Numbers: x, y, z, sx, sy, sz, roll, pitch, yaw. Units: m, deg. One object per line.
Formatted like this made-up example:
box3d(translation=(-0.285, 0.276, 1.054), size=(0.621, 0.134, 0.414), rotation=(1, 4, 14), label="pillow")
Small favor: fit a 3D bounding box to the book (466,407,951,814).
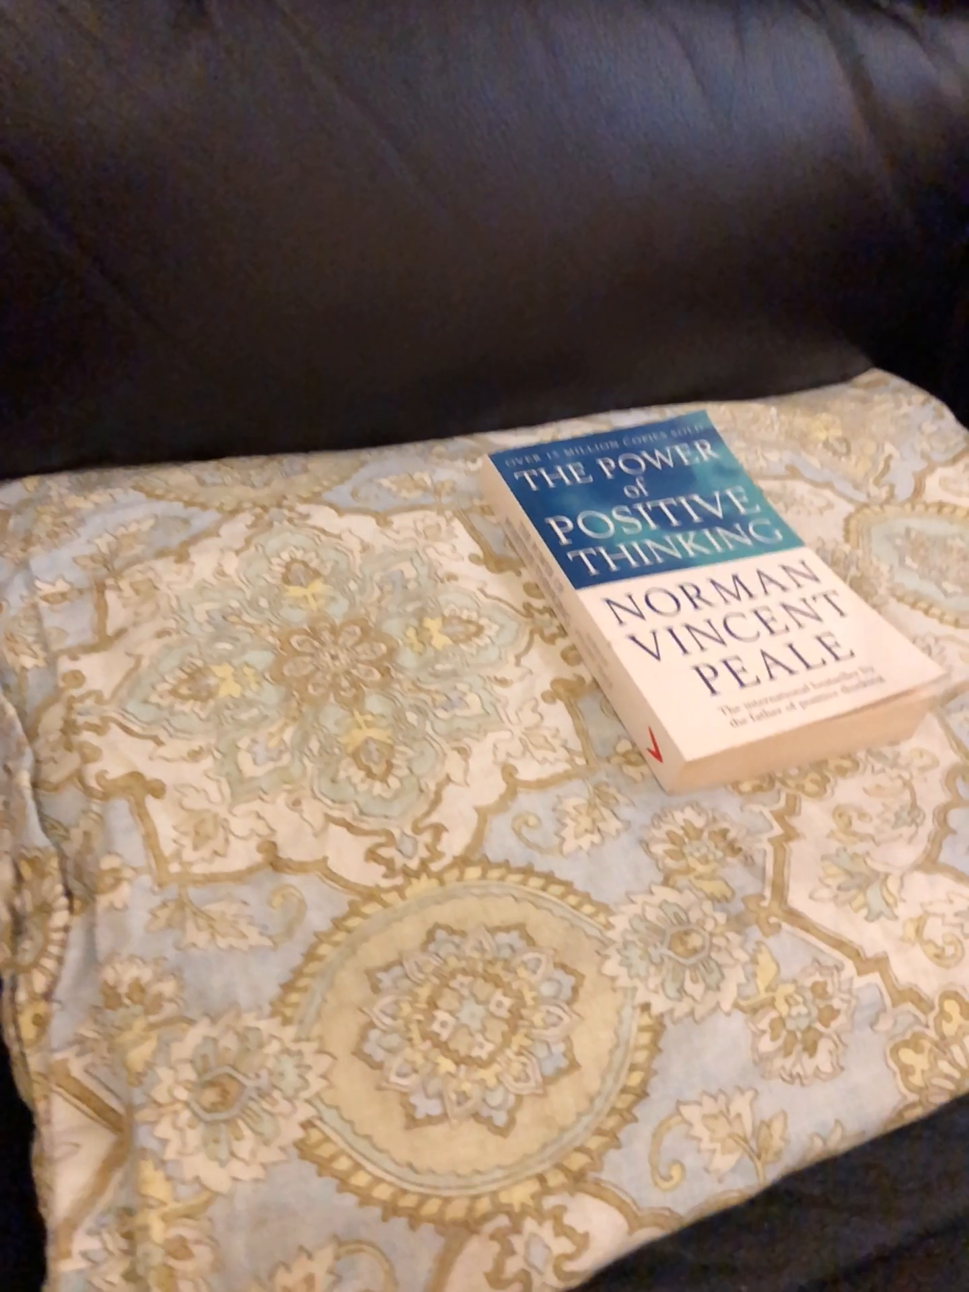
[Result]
box3d(translation=(0.084, -0.027, 0.448), size=(0.120, 0.030, 0.183), rotation=(-13, 51, -22), label="book")
